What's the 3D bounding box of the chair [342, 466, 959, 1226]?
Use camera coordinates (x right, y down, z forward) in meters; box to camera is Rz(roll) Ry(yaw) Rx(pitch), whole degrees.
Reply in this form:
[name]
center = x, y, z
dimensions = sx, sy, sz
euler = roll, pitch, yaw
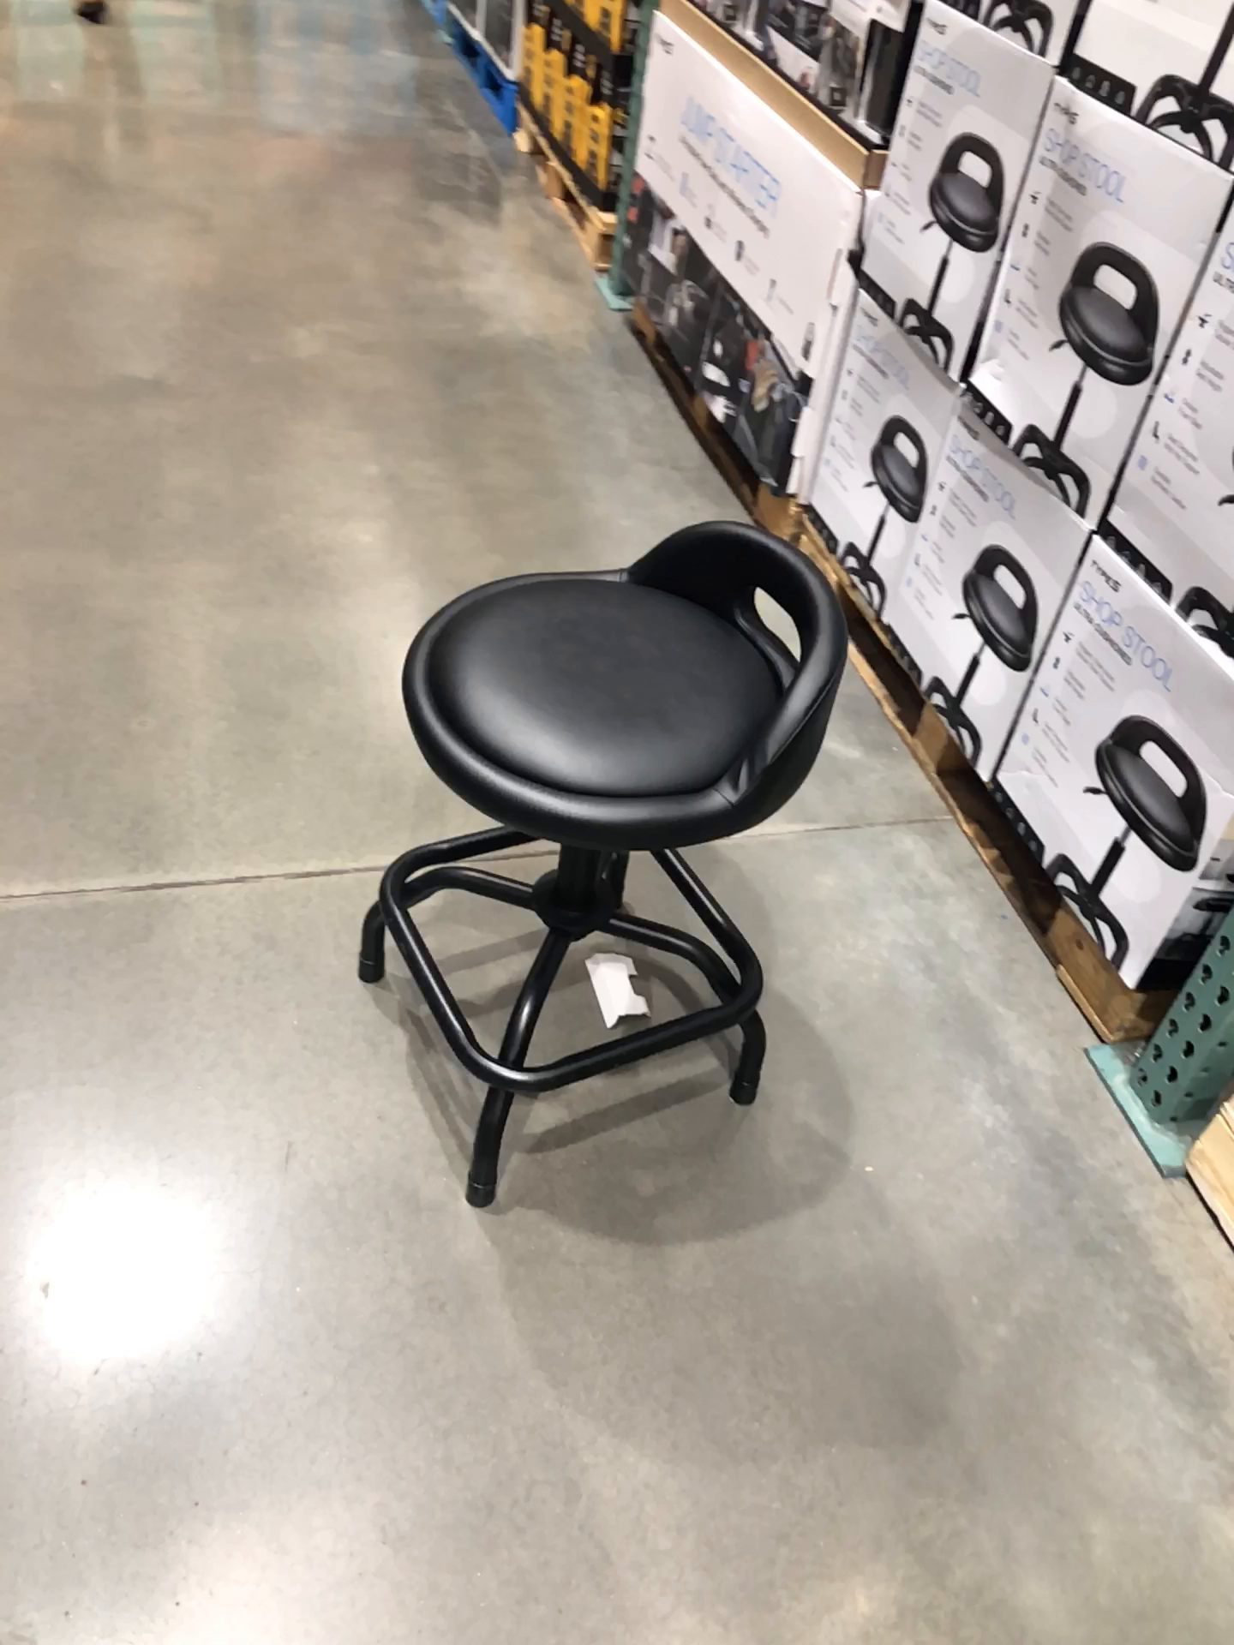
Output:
[chair]
center = -0.038, 0.020, 1.507
dimensions = 0.502, 0.627, 0.521
euler = -2, 42, -14
